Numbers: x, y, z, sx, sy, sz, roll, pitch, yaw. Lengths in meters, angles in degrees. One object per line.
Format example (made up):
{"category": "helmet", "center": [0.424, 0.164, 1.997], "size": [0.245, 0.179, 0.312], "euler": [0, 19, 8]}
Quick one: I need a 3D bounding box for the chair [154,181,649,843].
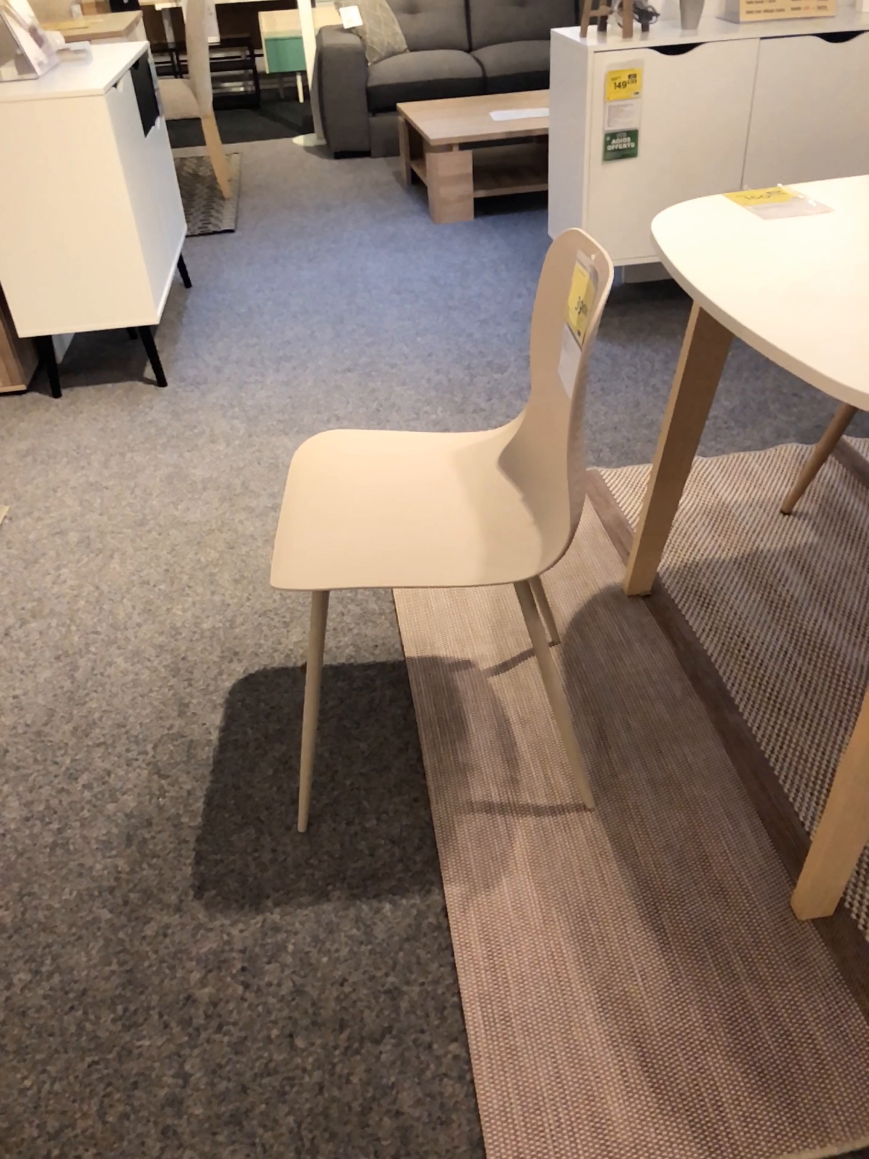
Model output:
{"category": "chair", "center": [-0.030, -0.097, 1.381], "size": [0.500, 0.766, 0.503], "euler": [-6, 35, -2]}
